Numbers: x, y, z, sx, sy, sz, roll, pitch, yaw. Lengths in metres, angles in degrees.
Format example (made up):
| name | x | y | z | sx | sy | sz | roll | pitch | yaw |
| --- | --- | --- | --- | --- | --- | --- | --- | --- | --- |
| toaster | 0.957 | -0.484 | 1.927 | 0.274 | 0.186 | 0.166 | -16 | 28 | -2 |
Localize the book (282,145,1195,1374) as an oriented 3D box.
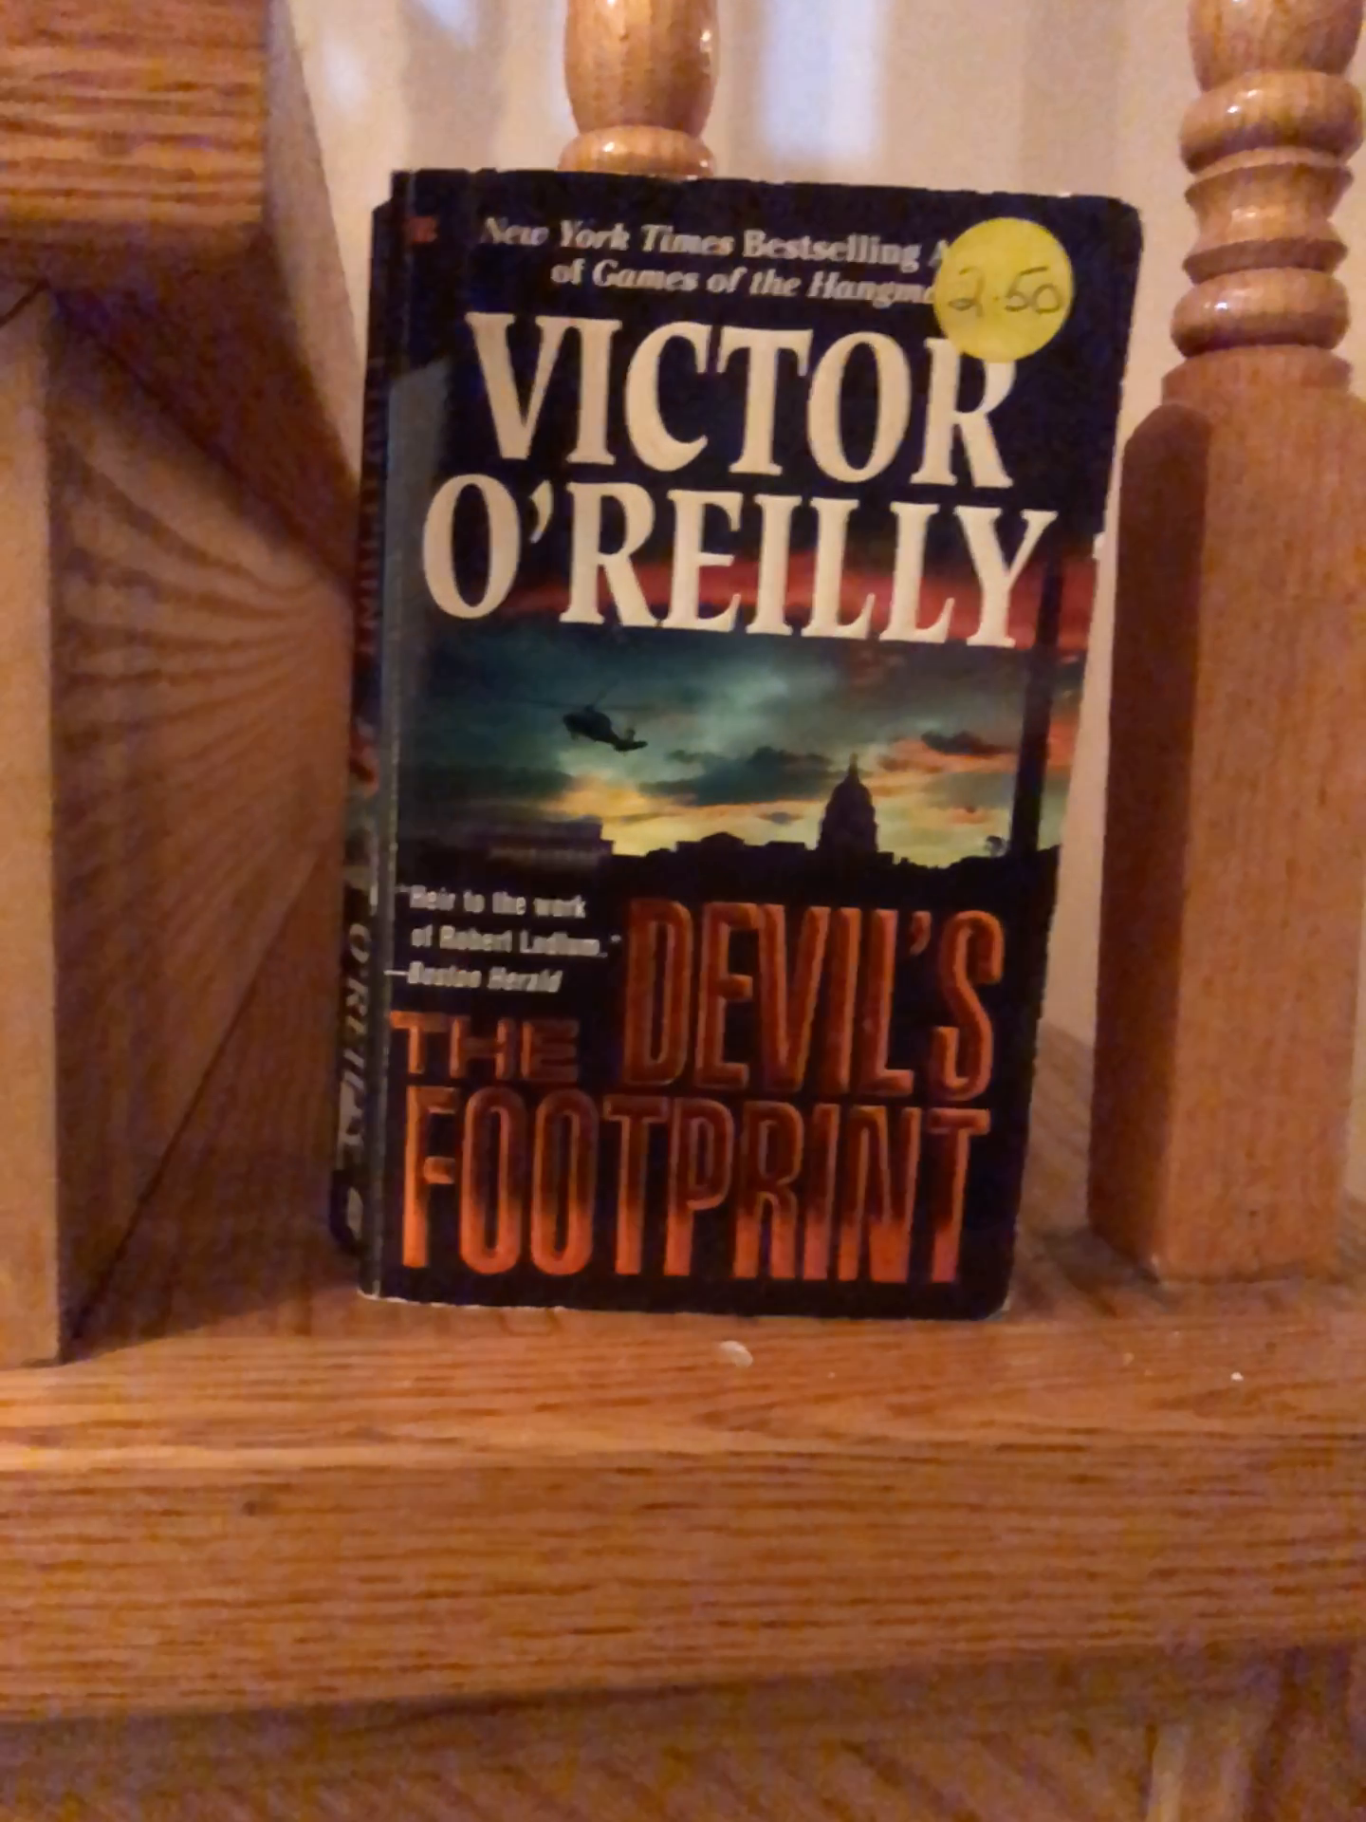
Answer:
| name | x | y | z | sx | sy | sz | roll | pitch | yaw |
| --- | --- | --- | --- | --- | --- | --- | --- | --- | --- |
| book | 0.005 | -0.020 | 0.241 | 0.120 | 0.170 | 0.050 | 2 | 11 | 1 |
